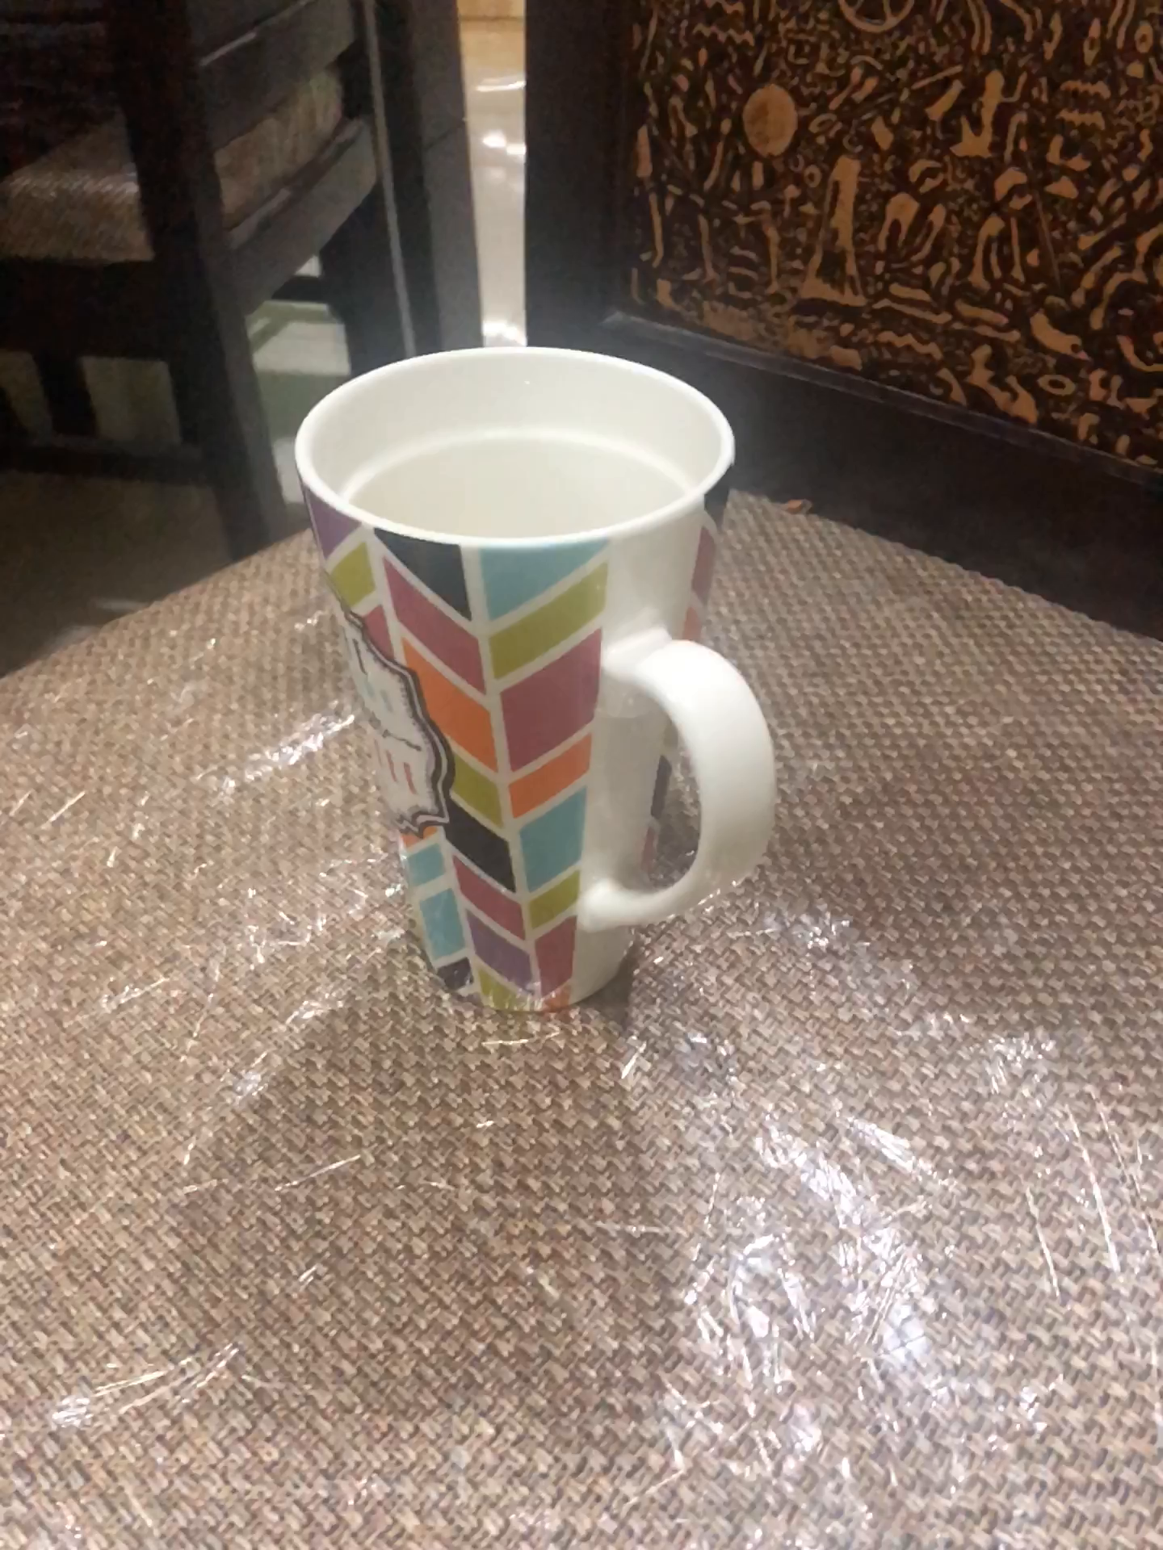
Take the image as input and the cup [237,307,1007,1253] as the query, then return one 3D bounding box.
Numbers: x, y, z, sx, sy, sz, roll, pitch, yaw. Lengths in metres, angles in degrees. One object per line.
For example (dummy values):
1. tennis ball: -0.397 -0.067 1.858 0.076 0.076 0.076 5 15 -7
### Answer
1. cup: -0.002 -0.005 0.286 0.090 0.140 0.130 -19 43 -22
